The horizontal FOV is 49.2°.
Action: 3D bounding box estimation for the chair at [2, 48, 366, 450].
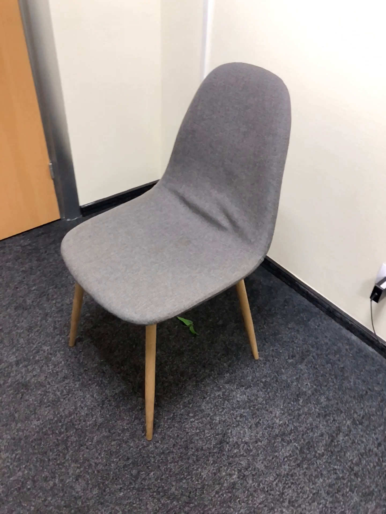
[{"bbox_3d":[-0.024,-0.042,1.132,0.602,0.785,0.471,-28,49,-32],"label":"chair"}]
